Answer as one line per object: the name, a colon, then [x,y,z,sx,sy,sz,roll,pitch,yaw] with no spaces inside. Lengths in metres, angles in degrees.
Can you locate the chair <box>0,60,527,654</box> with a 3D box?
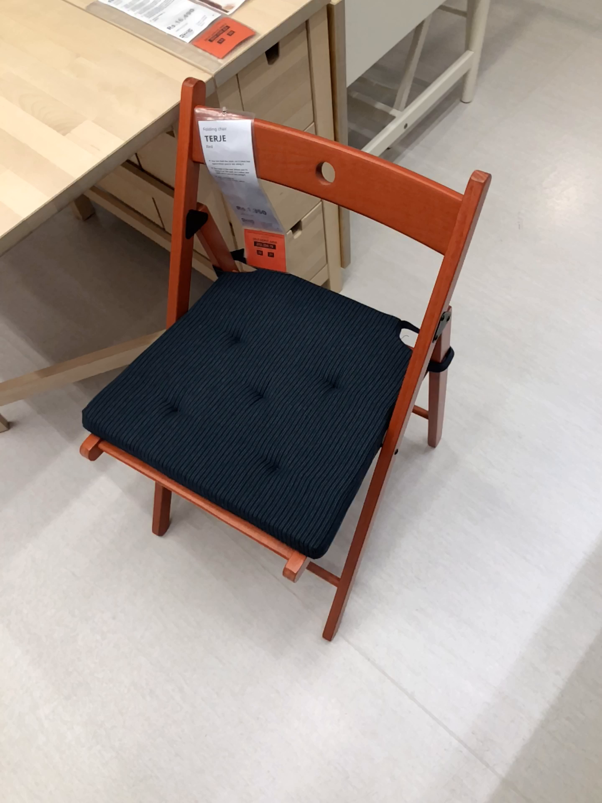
chair: [-0.038,-0.008,1.059,0.471,0.717,0.501,27,67,19]
